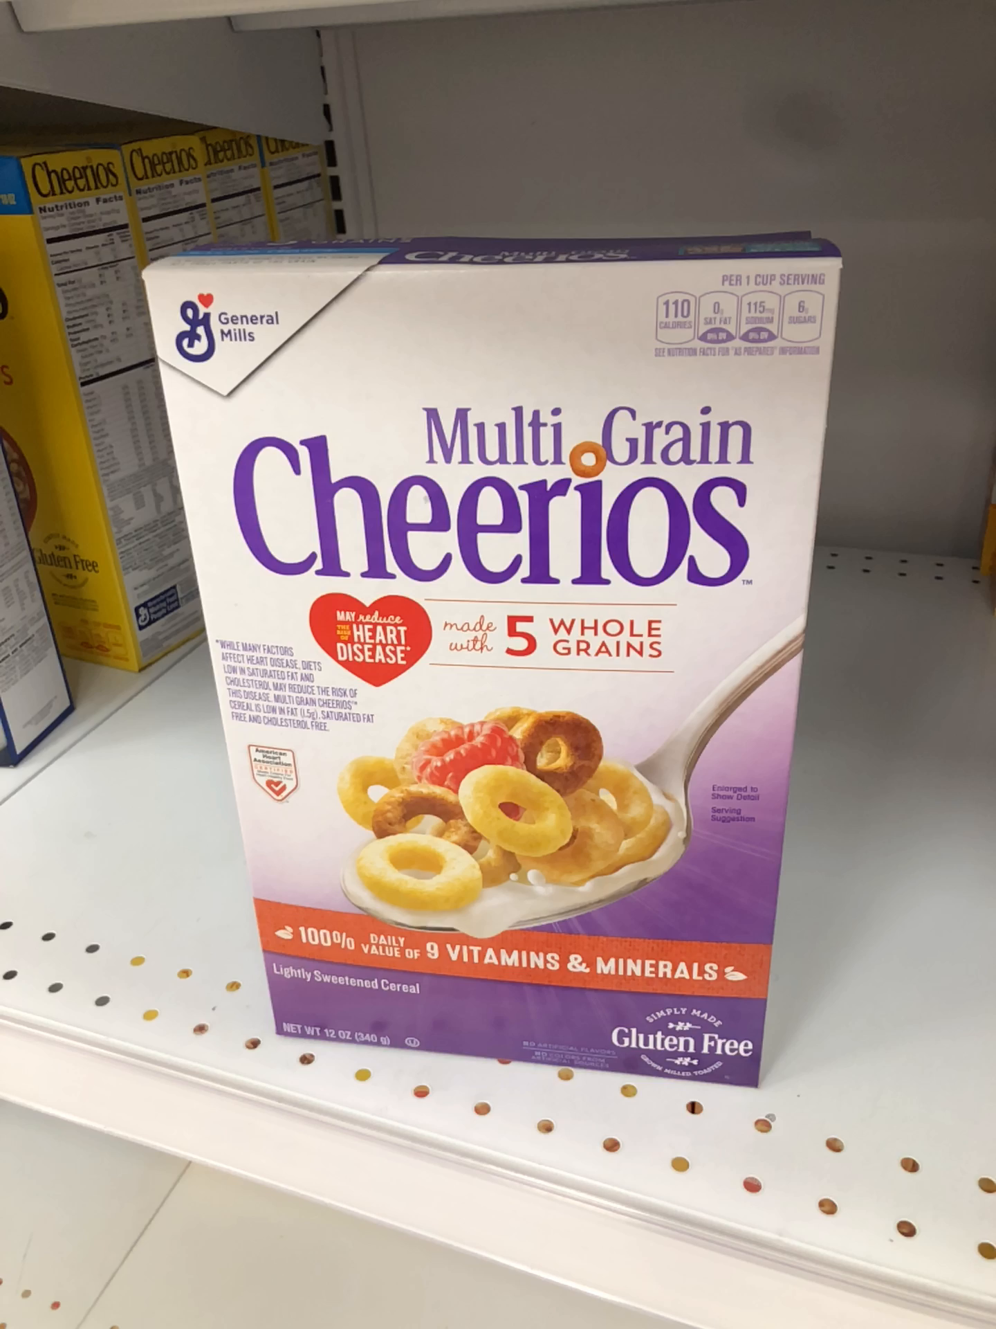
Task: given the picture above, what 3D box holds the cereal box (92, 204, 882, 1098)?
[{"bbox_3d":[0.003,0.007,0.387,0.210,0.299,0.070,3,28,10],"label":"cereal box"}]
